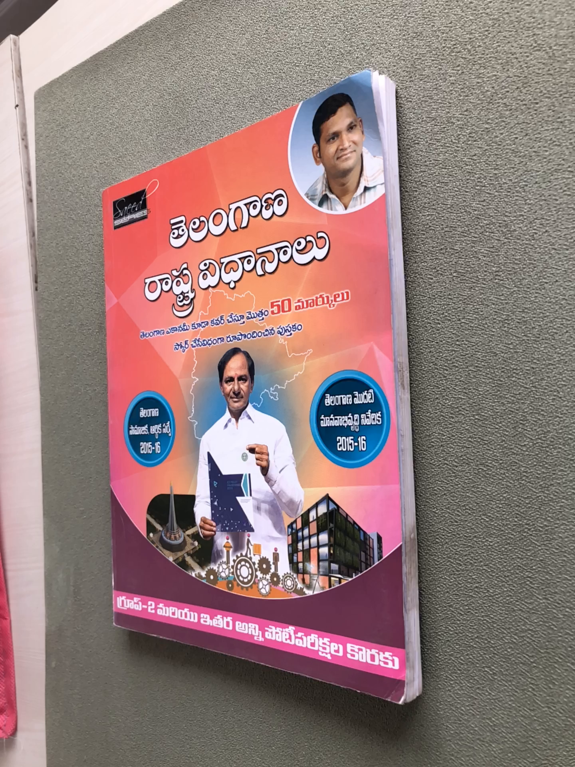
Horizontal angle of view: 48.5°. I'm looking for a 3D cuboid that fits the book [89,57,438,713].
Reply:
[{"bbox_3d":[-0.025,0.003,0.309,0.181,0.030,0.250,-5,86,37],"label":"book"}]
